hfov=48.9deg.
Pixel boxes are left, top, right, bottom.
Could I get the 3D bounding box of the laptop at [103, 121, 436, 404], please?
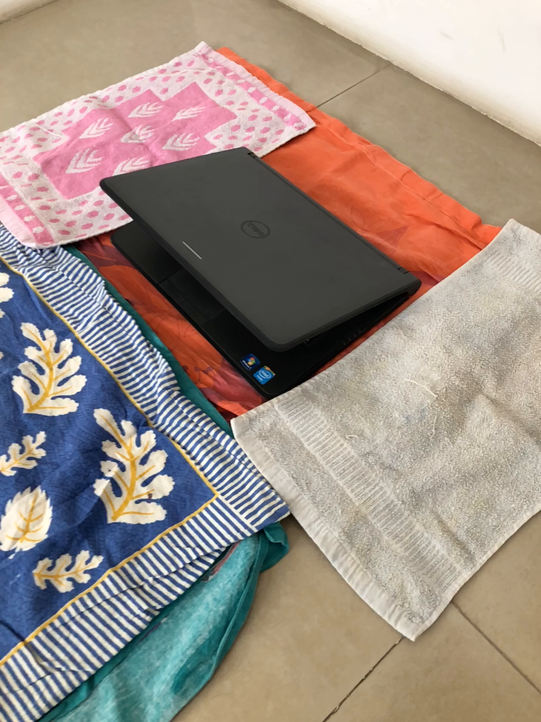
[{"bbox_3d":[-0.007,-0.135,0.706,0.227,0.078,0.315,-35,62,-21],"label":"laptop"}]
